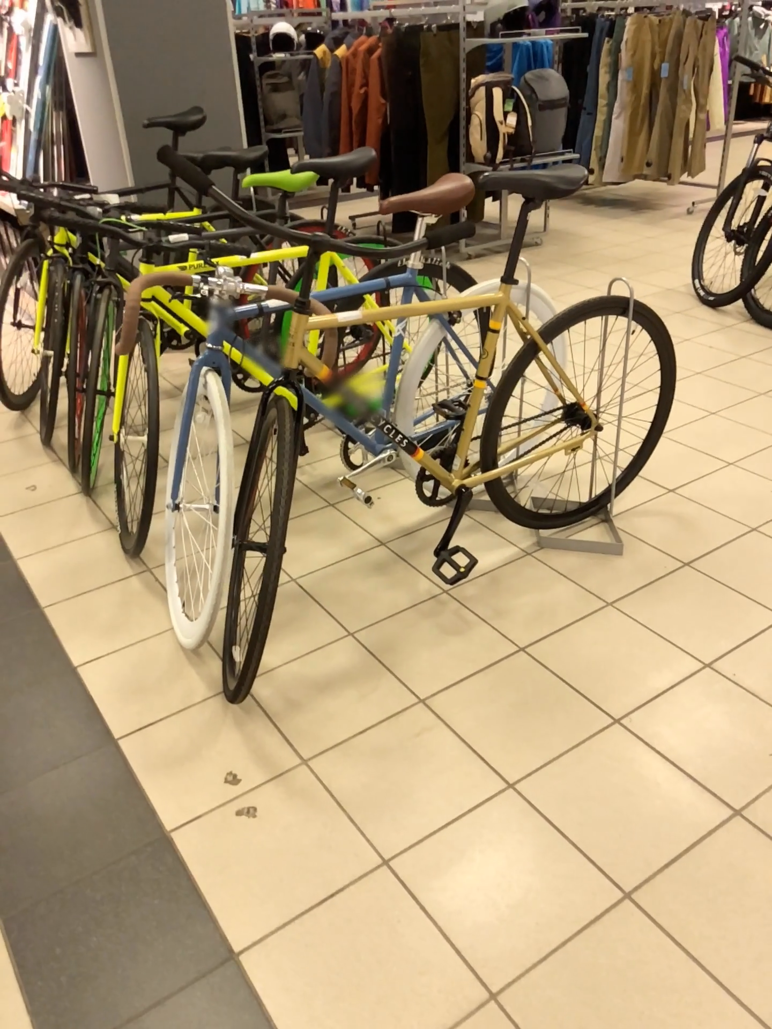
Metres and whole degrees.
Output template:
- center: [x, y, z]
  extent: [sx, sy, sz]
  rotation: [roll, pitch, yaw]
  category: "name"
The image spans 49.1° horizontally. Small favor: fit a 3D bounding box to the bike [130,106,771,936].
- center: [0.257, -0.172, 1.968]
  extent: [1.468, 1.091, 0.674]
  rotation: [-31, 39, -33]
  category: "bike"
